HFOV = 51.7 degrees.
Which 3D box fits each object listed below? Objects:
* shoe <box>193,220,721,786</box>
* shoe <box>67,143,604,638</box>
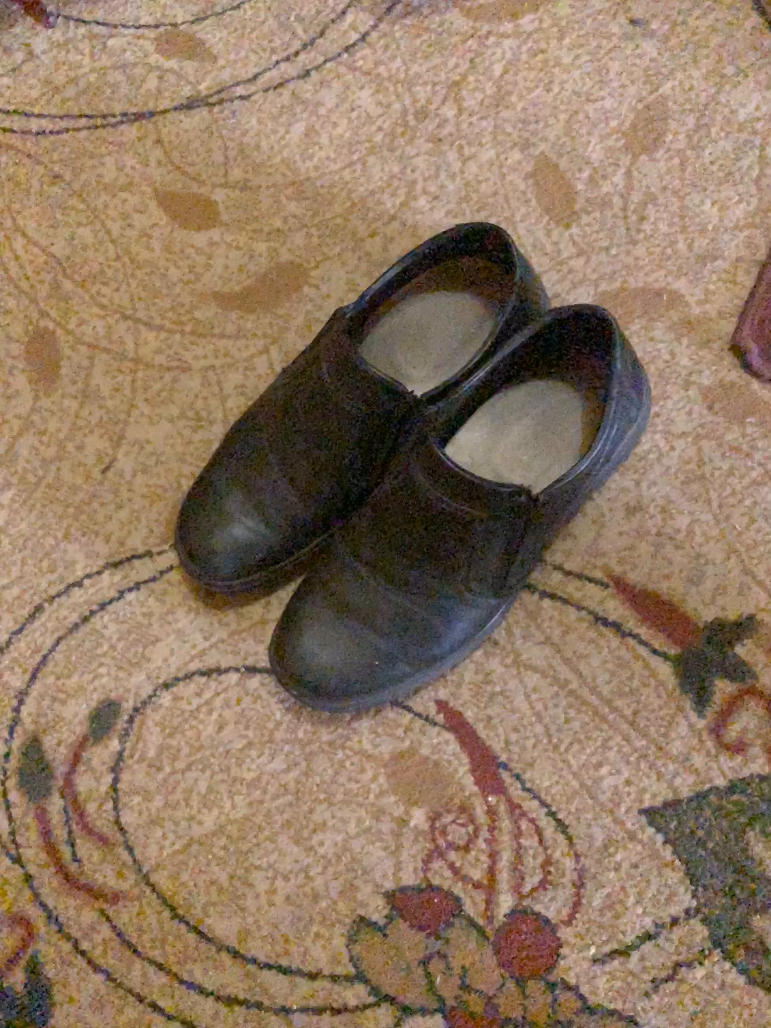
[{"bbox_3d":[0.043,-0.003,0.441,0.100,0.100,0.290,39,85,17],"label":"shoe"},{"bbox_3d":[-0.022,-0.064,0.468,0.290,0.100,0.100,-39,72,-1],"label":"shoe"}]
